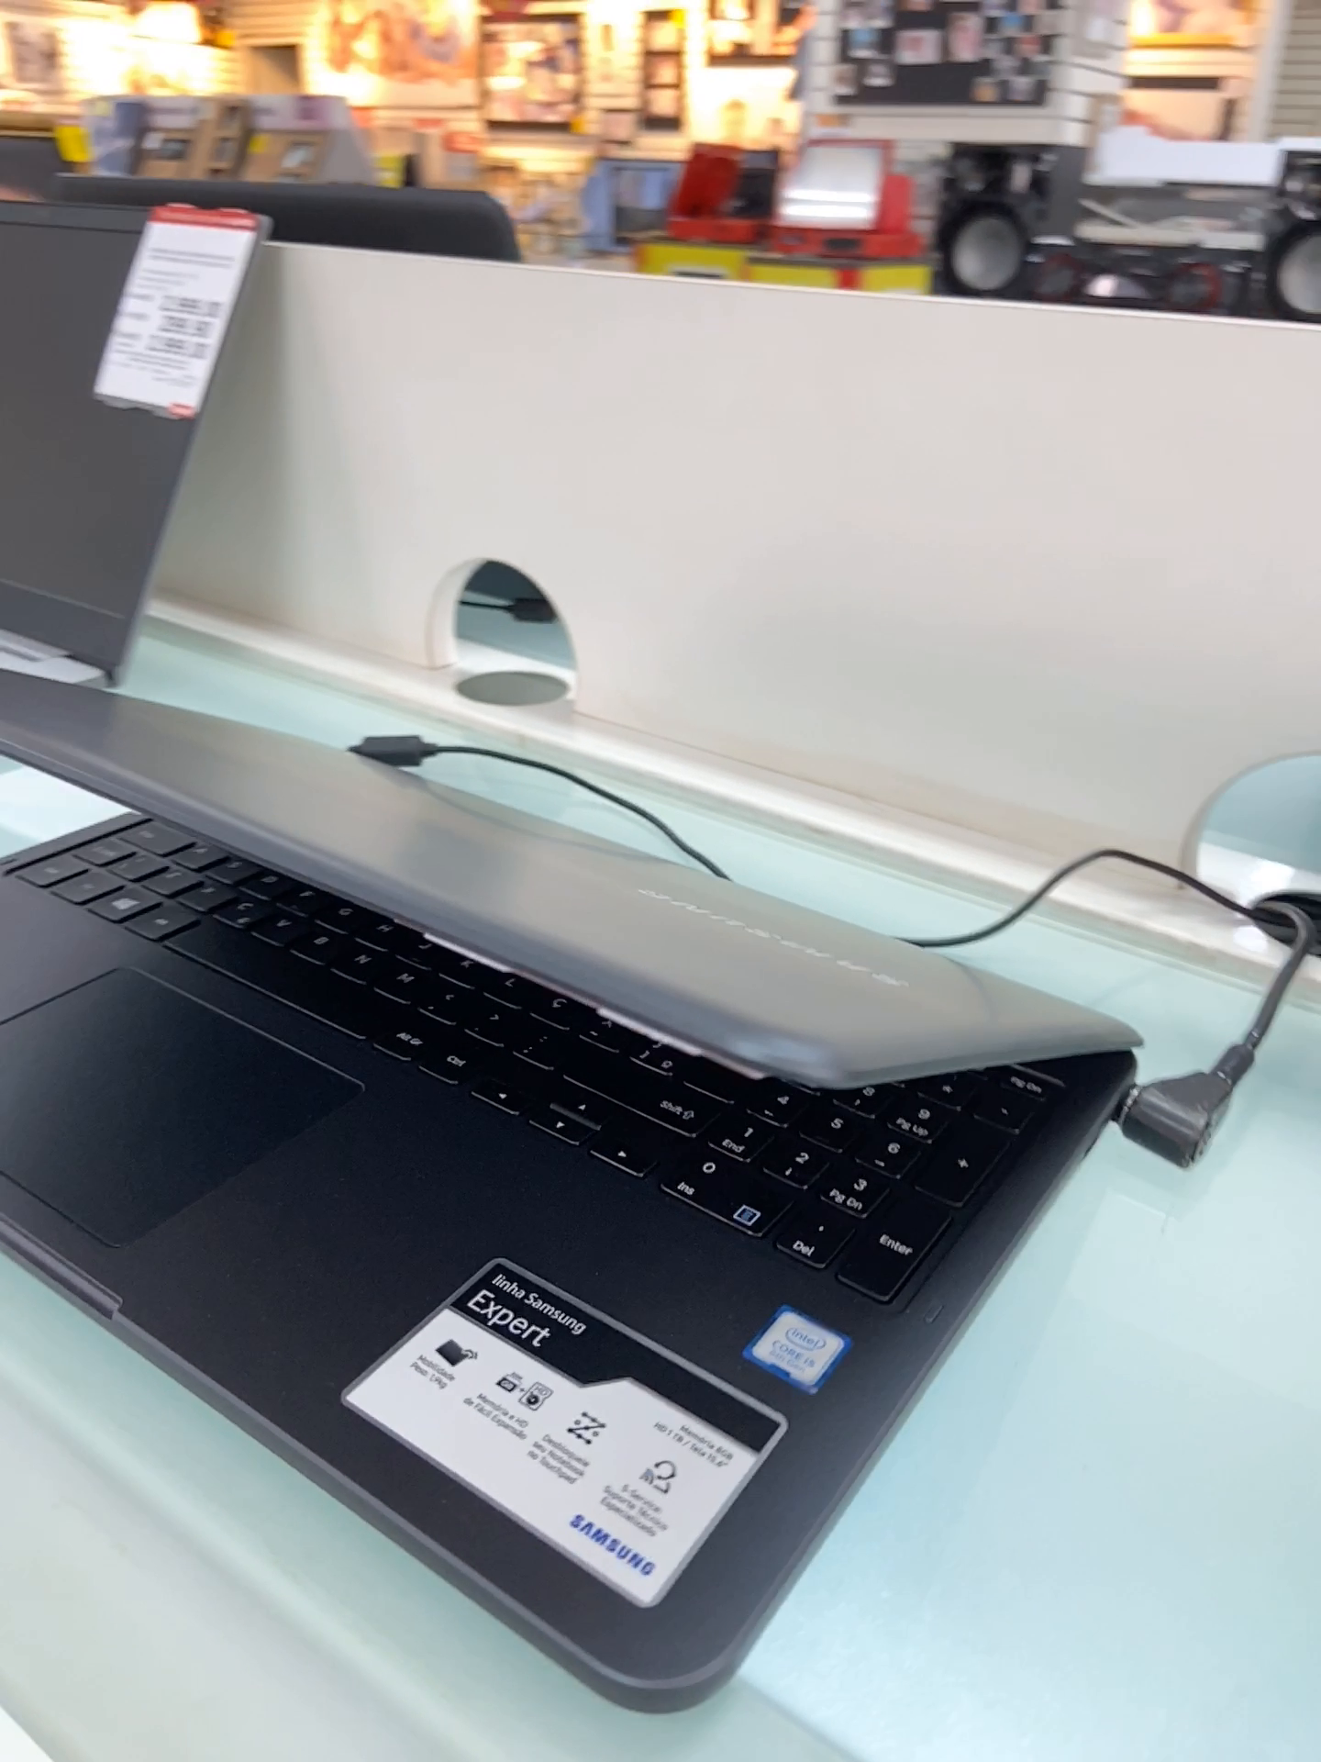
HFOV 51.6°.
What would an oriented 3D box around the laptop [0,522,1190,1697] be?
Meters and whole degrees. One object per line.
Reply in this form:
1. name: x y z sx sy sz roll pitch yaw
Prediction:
1. laptop: -0.086 -0.003 0.387 0.376 0.101 0.234 19 32 30
